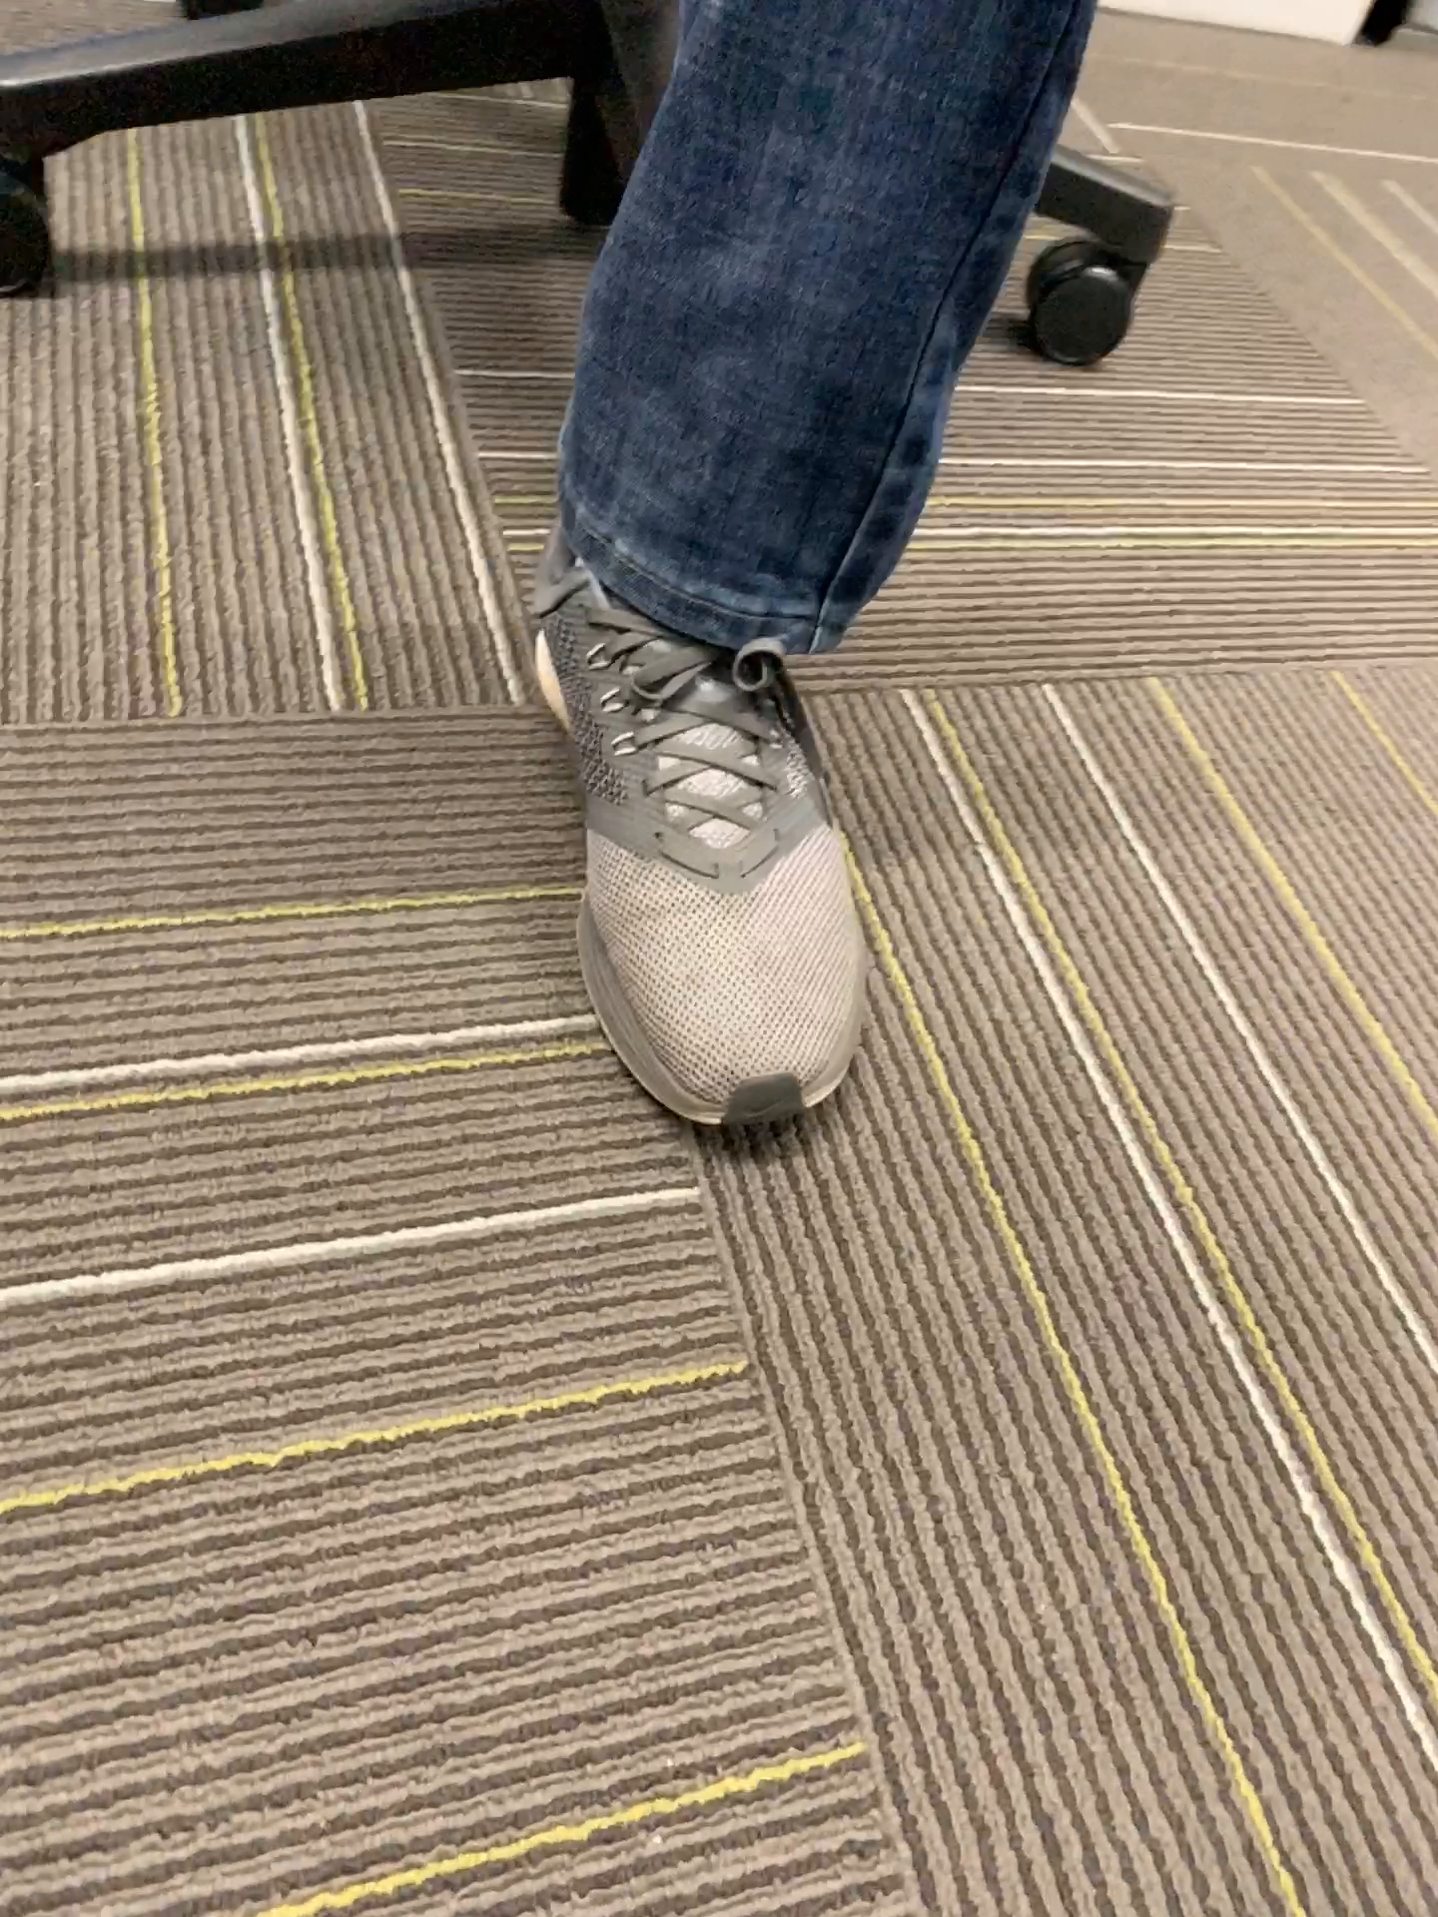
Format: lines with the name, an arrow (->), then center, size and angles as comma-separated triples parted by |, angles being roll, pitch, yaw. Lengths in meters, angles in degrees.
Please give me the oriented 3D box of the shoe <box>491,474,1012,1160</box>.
shoe -> -0.004, -0.067, 0.563 | 0.120, 0.085, 0.270 | -4, 52, -18
